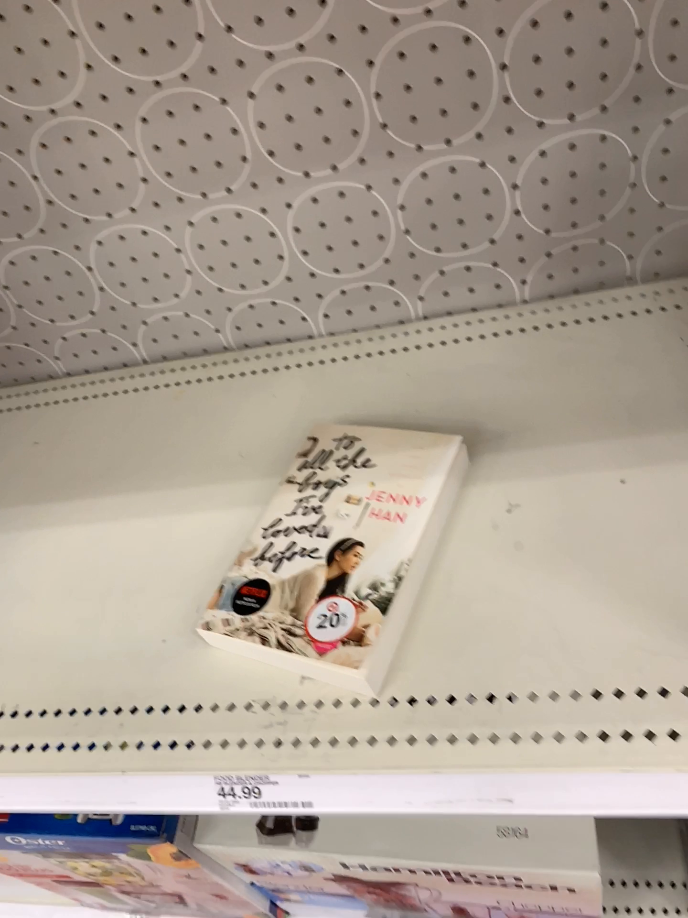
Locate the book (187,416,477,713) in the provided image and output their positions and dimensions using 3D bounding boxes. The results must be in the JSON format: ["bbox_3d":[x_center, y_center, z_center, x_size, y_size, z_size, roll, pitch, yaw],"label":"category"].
[{"bbox_3d":[-0.001,0.063,0.534,0.144,0.034,0.214,9,52,26],"label":"book"}]
